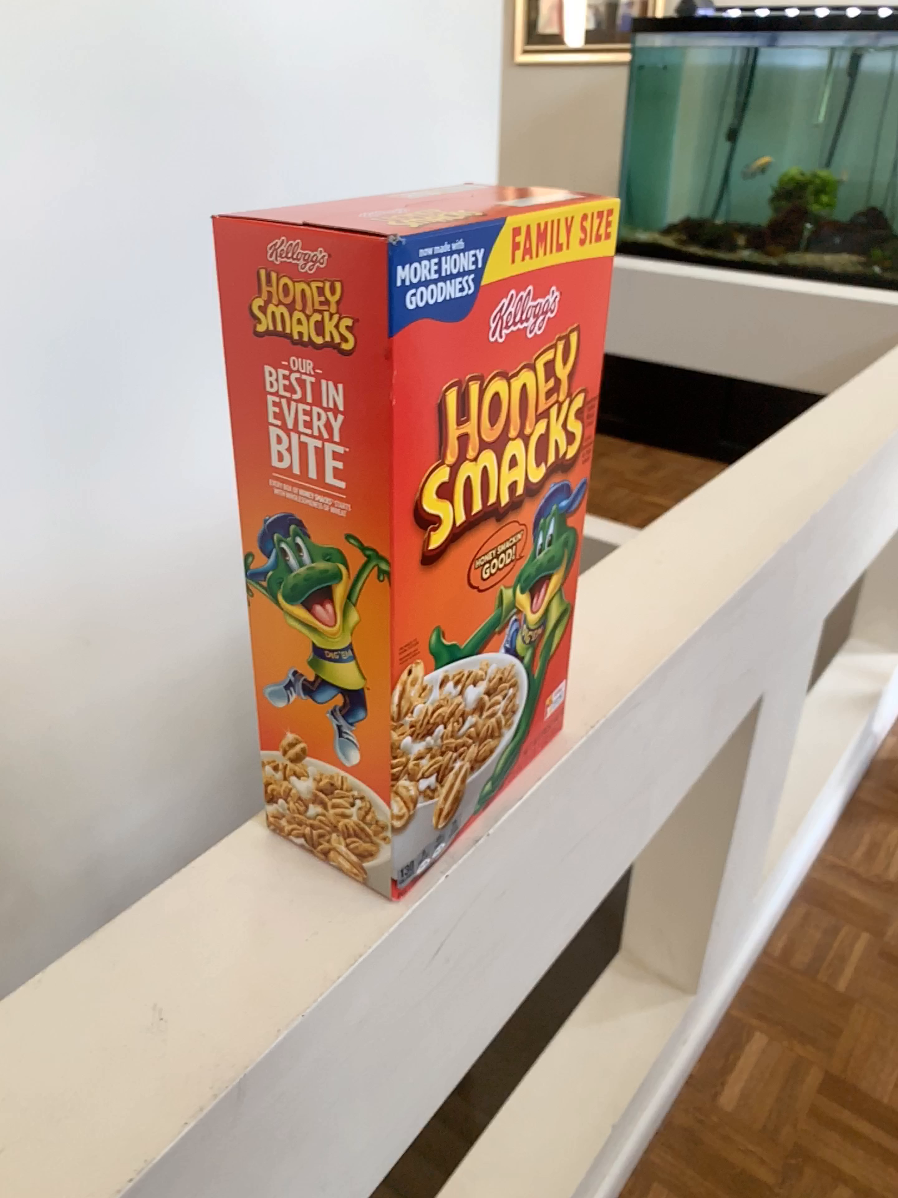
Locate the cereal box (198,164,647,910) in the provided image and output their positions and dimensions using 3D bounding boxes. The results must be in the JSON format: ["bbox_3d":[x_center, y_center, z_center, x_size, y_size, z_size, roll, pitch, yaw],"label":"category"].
[{"bbox_3d":[-0.002,-0.042,0.504,0.100,0.338,0.211,19,34,30],"label":"cereal box"}]
